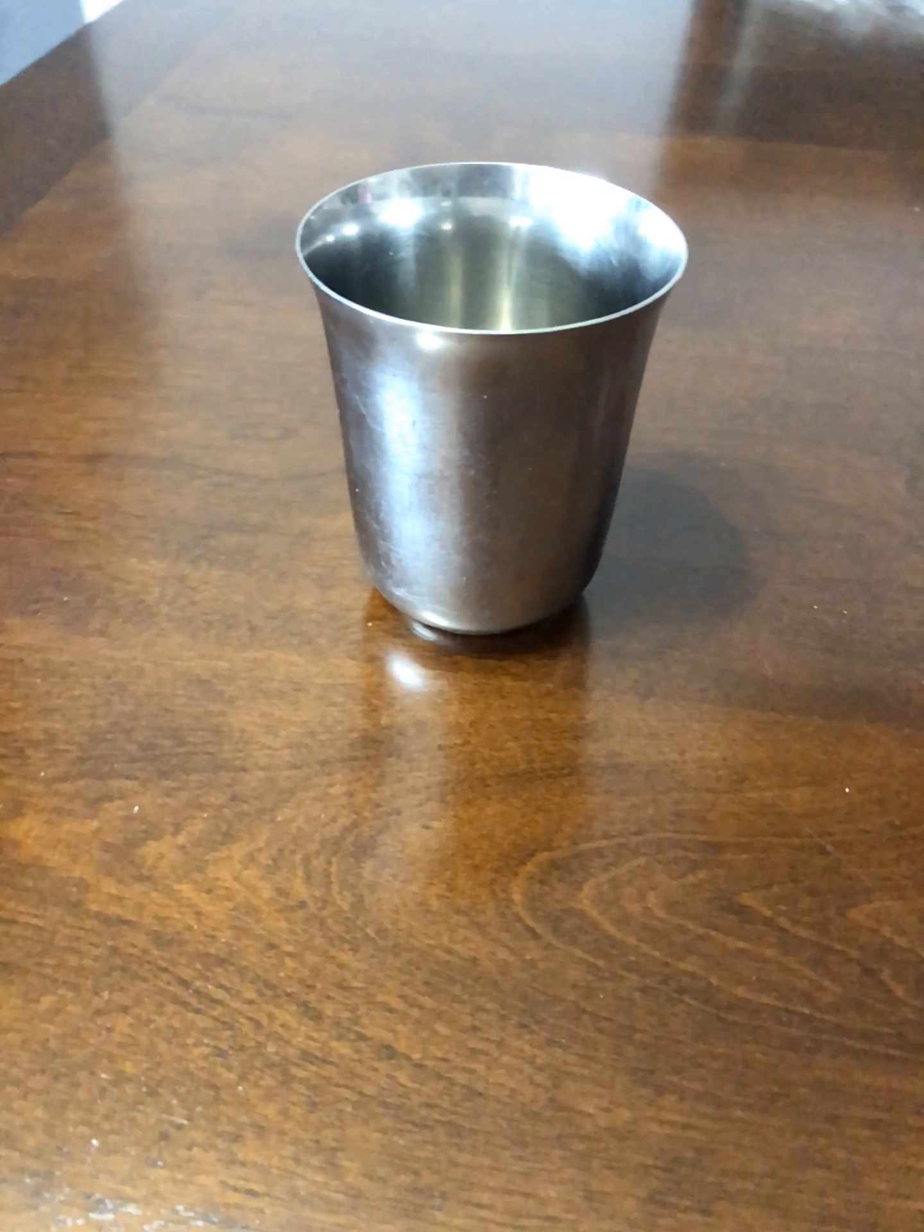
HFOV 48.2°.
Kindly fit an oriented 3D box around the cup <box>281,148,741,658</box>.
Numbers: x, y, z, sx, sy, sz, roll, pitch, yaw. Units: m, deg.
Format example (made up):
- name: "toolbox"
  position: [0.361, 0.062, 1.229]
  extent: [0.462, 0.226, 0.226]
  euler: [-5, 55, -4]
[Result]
- name: "cup"
  position: [0.004, -0.051, 0.241]
  extent: [0.080, 0.080, 0.080]
  euler: [1, 44, -1]
